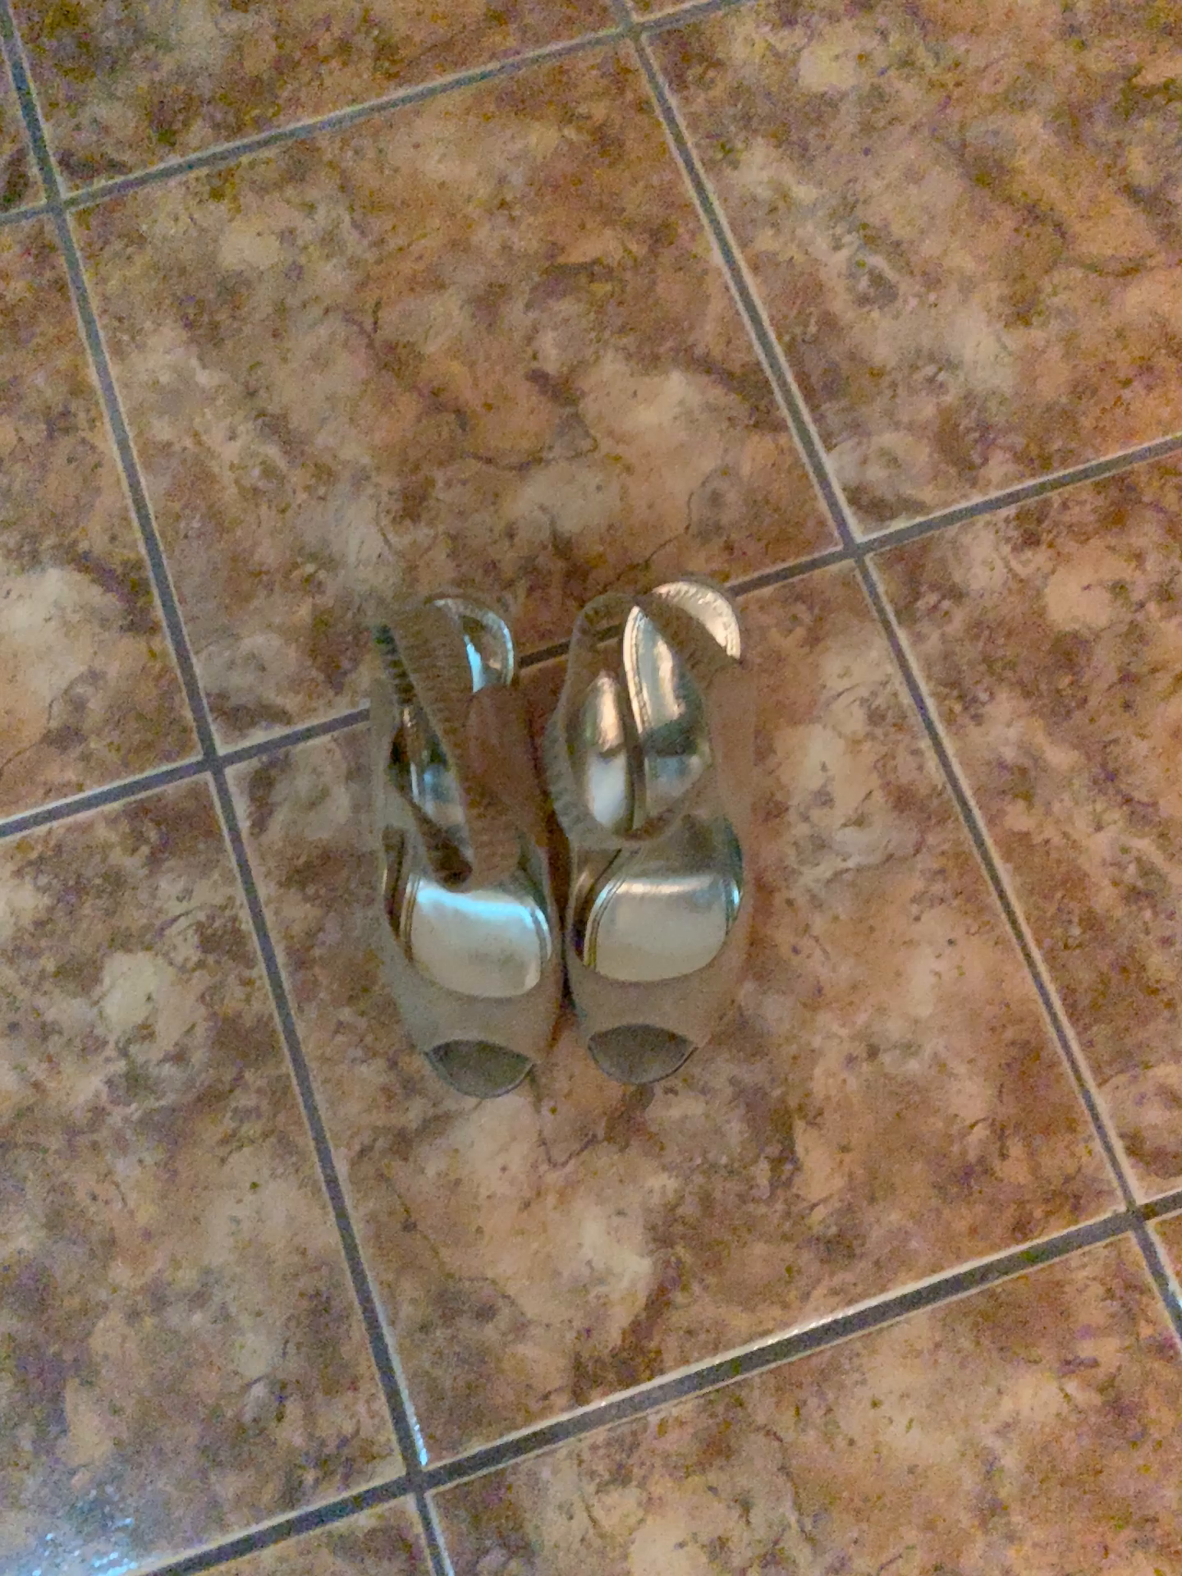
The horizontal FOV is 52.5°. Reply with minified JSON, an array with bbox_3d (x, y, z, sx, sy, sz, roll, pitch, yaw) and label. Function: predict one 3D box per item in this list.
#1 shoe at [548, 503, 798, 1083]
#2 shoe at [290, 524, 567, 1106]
[{"bbox_3d":[0.030,0.013,0.488,0.081,0.150,0.204,1,76,2],"label":"shoe"},{"bbox_3d":[-0.056,0.020,0.491,0.081,0.140,0.209,1,76,2],"label":"shoe"}]
